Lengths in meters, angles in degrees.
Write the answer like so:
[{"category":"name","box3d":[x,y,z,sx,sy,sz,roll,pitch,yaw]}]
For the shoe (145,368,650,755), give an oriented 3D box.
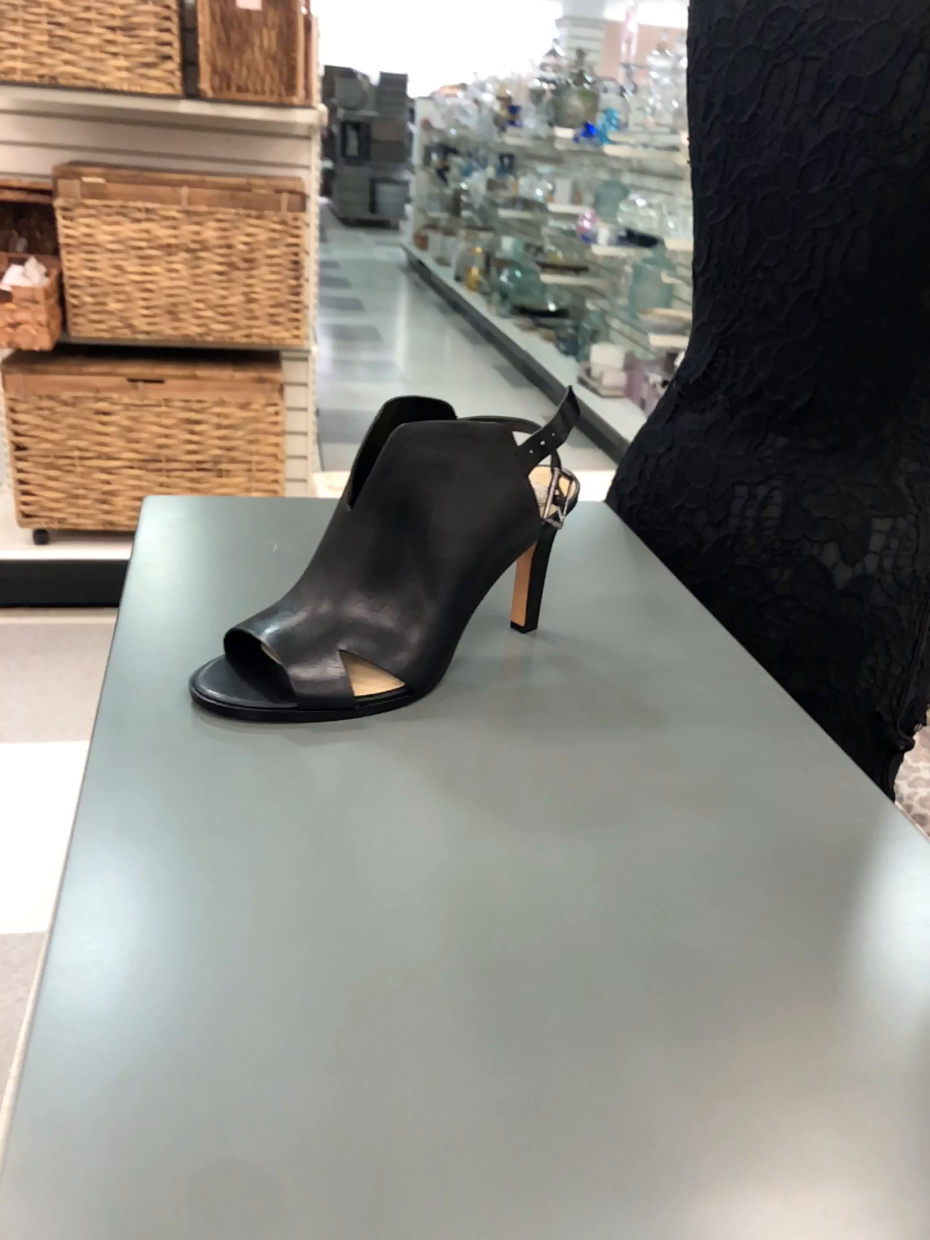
[{"category":"shoe","box3d":[-0.034,-0.044,0.545,0.237,0.150,0.095,-11,29,-31]}]
